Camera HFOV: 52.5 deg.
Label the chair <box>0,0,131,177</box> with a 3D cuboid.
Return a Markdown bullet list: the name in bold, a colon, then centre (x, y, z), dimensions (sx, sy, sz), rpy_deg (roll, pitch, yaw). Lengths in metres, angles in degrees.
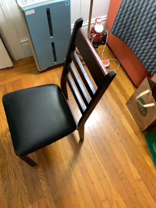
- **chair**: centre (-0.204, 0.029, 0.914), dimensions (0.550, 0.868, 0.491), rpy_deg (-22, 66, -13)
